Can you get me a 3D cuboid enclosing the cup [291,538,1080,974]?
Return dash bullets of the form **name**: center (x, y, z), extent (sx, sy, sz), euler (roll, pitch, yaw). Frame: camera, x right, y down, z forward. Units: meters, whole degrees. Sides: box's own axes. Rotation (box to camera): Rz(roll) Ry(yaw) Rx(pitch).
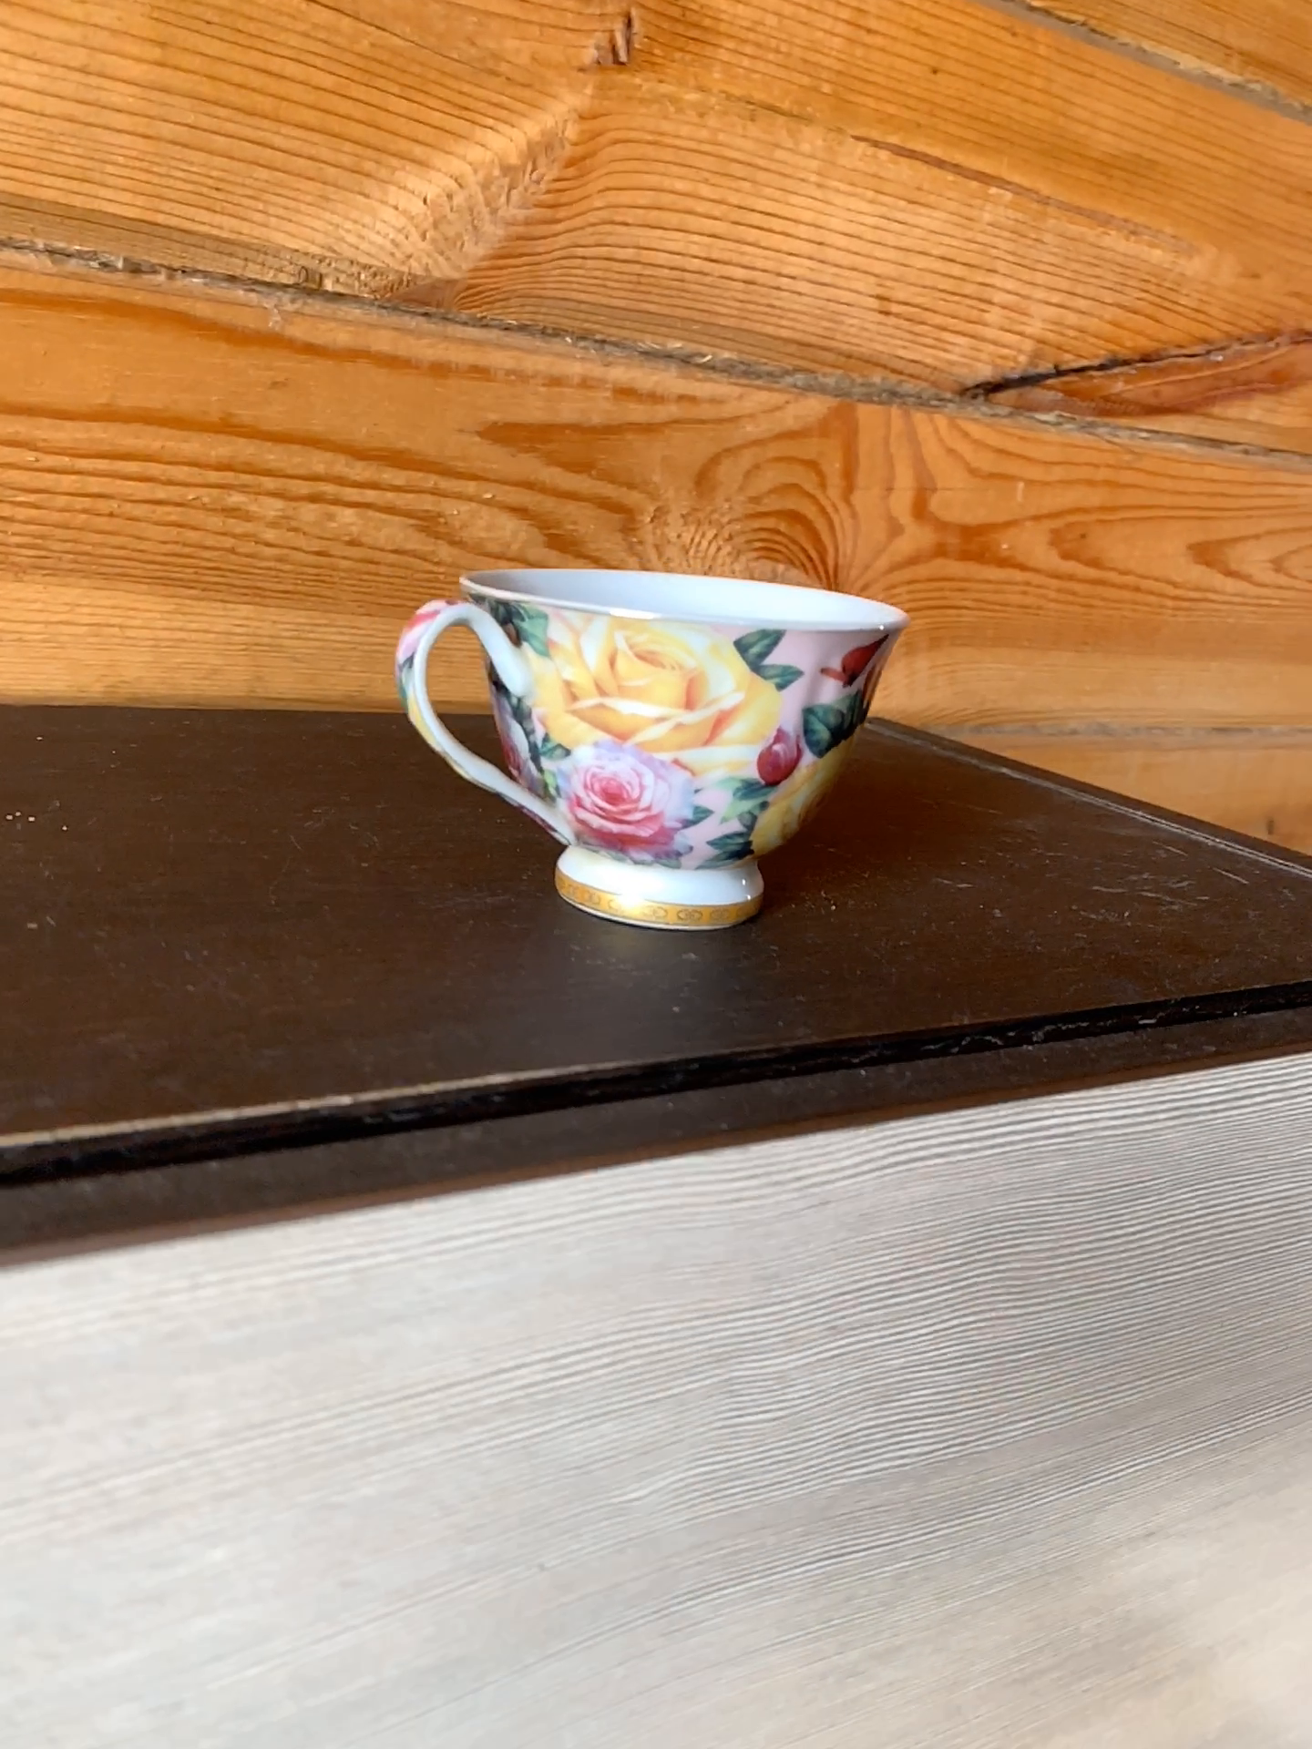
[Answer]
- **cup**: center (0.001, -0.030, 0.274), extent (0.120, 0.060, 0.100), euler (-3, 17, -30)
